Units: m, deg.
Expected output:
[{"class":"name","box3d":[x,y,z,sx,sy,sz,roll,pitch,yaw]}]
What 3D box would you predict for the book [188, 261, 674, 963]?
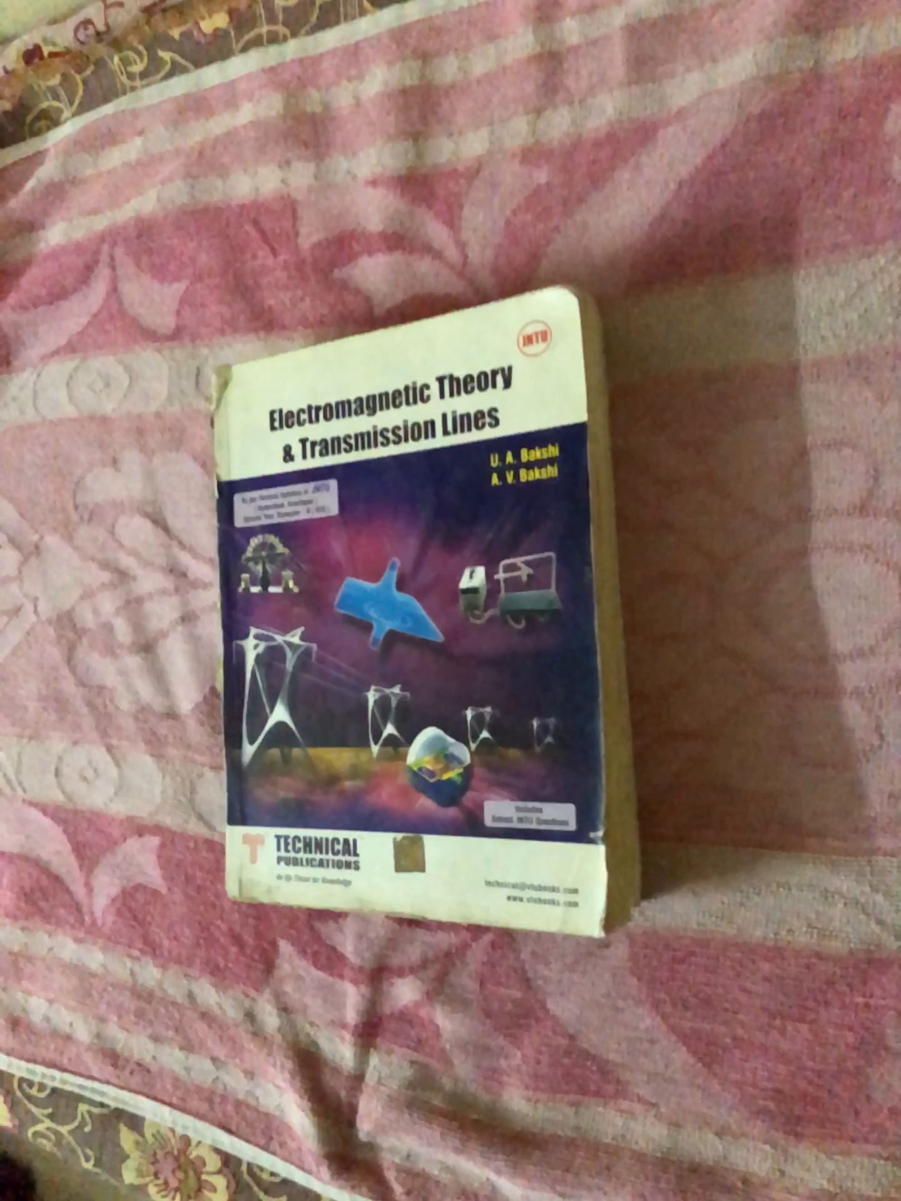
[{"class":"book","box3d":[-0.017,0.009,0.429,0.201,0.060,0.250,-5,85,30]}]
